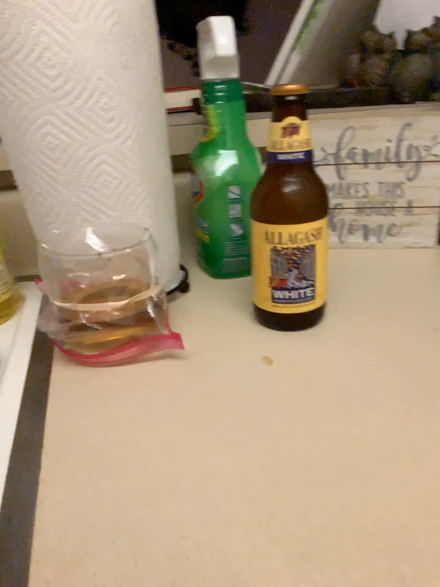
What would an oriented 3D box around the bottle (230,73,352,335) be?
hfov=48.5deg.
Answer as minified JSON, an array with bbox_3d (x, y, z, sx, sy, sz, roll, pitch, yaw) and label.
[{"bbox_3d":[0.054,-0.071,0.397,0.080,0.190,0.080,-3,22,1],"label":"bottle"}]
